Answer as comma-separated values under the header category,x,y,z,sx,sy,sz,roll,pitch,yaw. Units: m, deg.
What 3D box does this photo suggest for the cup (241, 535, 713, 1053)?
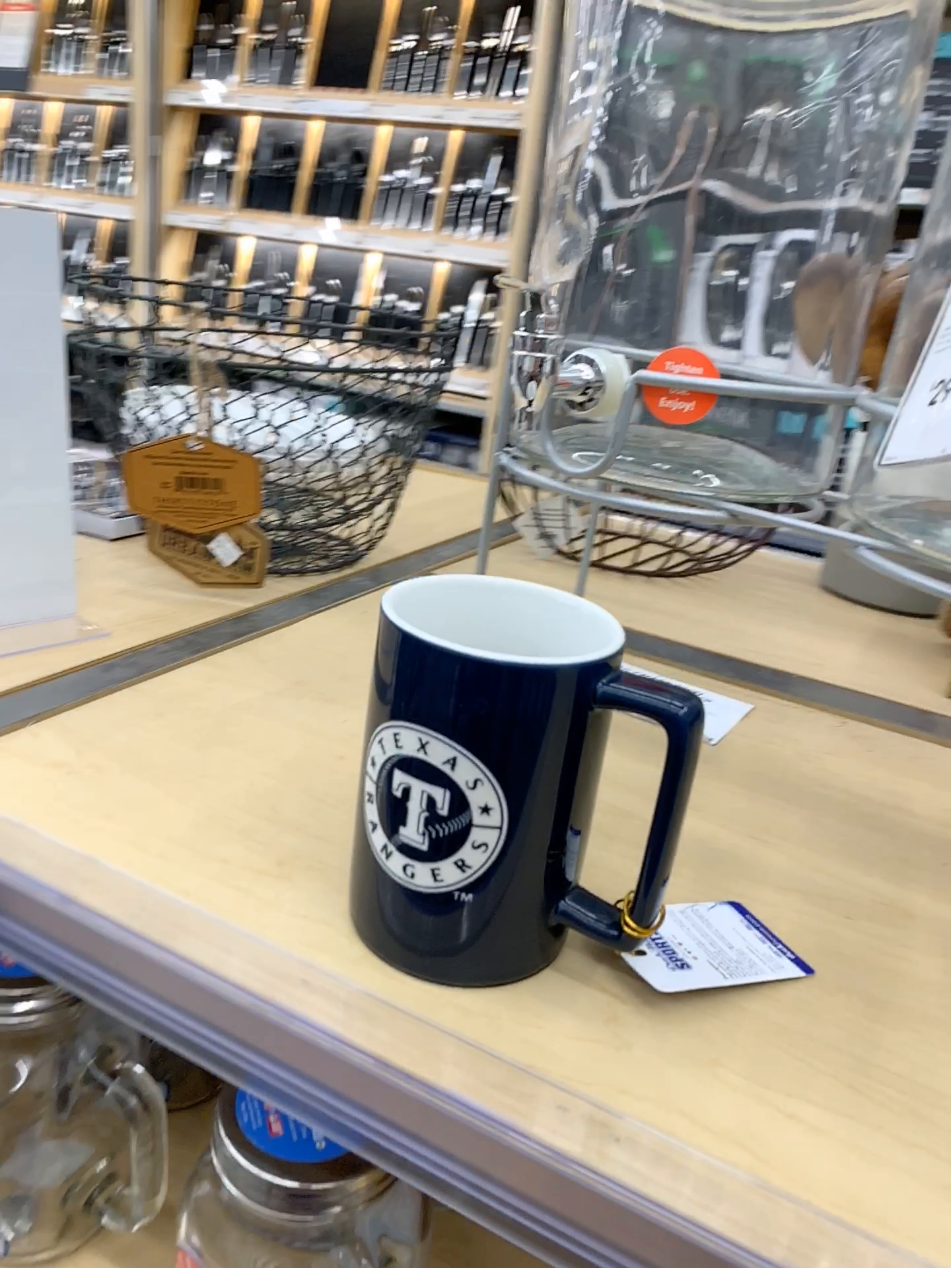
category,x,y,z,sx,sy,sz,roll,pitch,yaw
cup,0.000,0.044,0.346,0.123,0.121,0.097,16,20,23
